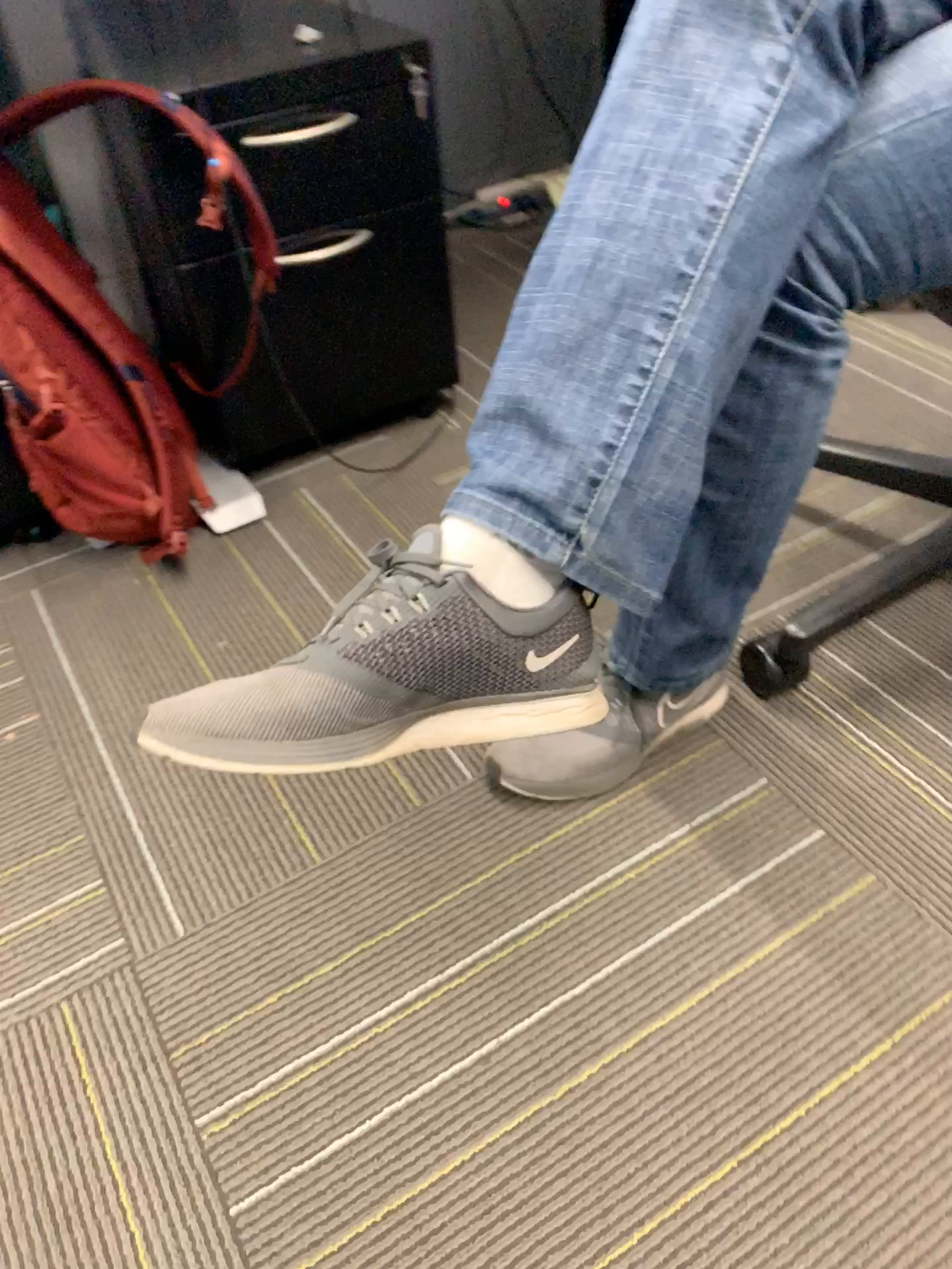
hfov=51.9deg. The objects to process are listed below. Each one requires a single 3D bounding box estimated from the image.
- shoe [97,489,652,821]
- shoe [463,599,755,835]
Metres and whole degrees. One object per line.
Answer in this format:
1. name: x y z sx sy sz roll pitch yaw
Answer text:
1. shoe: -0.062 0.007 0.607 0.295 0.143 0.122 -9 0 -15
2. shoe: 0.136 0.078 1.002 0.269 0.085 0.120 -24 45 -19
